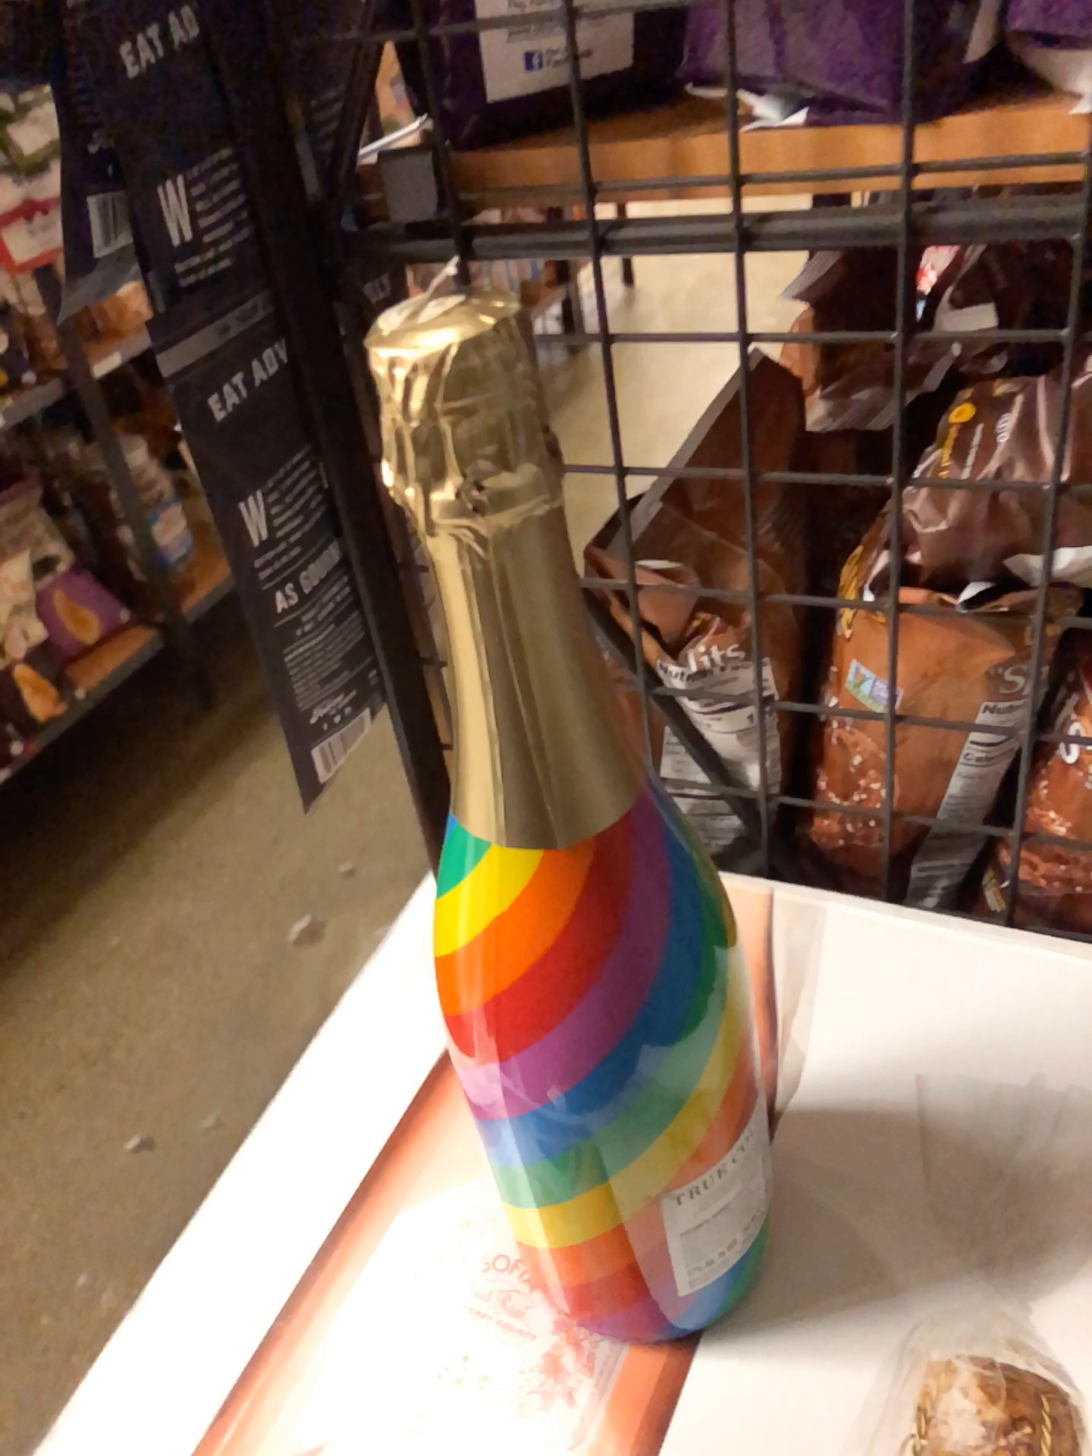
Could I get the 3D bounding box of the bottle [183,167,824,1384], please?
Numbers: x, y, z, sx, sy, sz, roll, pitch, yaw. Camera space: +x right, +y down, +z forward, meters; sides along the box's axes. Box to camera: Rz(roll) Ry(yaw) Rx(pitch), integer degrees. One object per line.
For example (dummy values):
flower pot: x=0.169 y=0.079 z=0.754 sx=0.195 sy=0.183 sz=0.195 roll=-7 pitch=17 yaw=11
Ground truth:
bottle: x=0.016 y=0.035 z=0.320 sx=0.088 sy=0.319 sz=0.088 roll=-7 pitch=35 yaw=5
